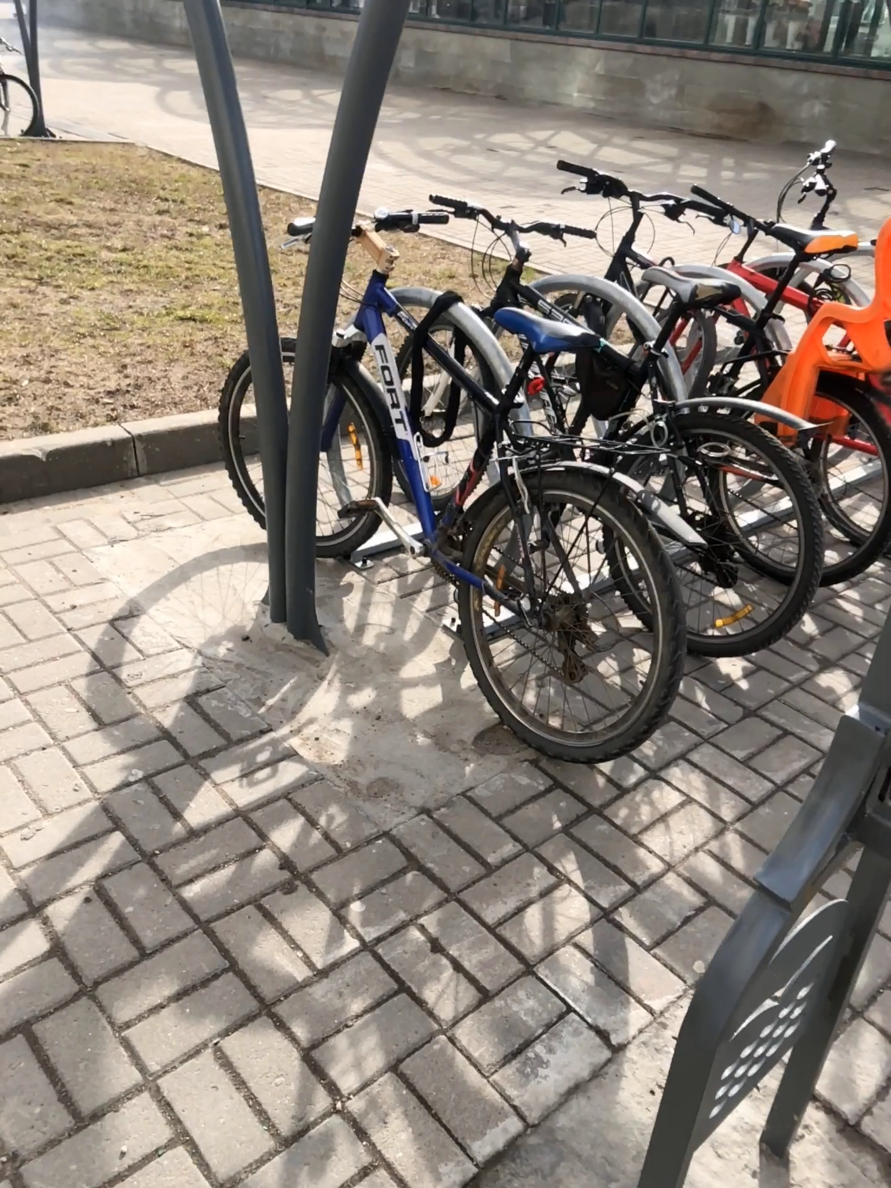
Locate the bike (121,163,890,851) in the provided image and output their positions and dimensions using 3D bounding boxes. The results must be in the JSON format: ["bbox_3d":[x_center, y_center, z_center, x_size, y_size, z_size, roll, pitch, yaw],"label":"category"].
[{"bbox_3d":[-0.028,-0.359,2.329,0.628,0.959,1.664,-22,41,-37],"label":"bike"}]
